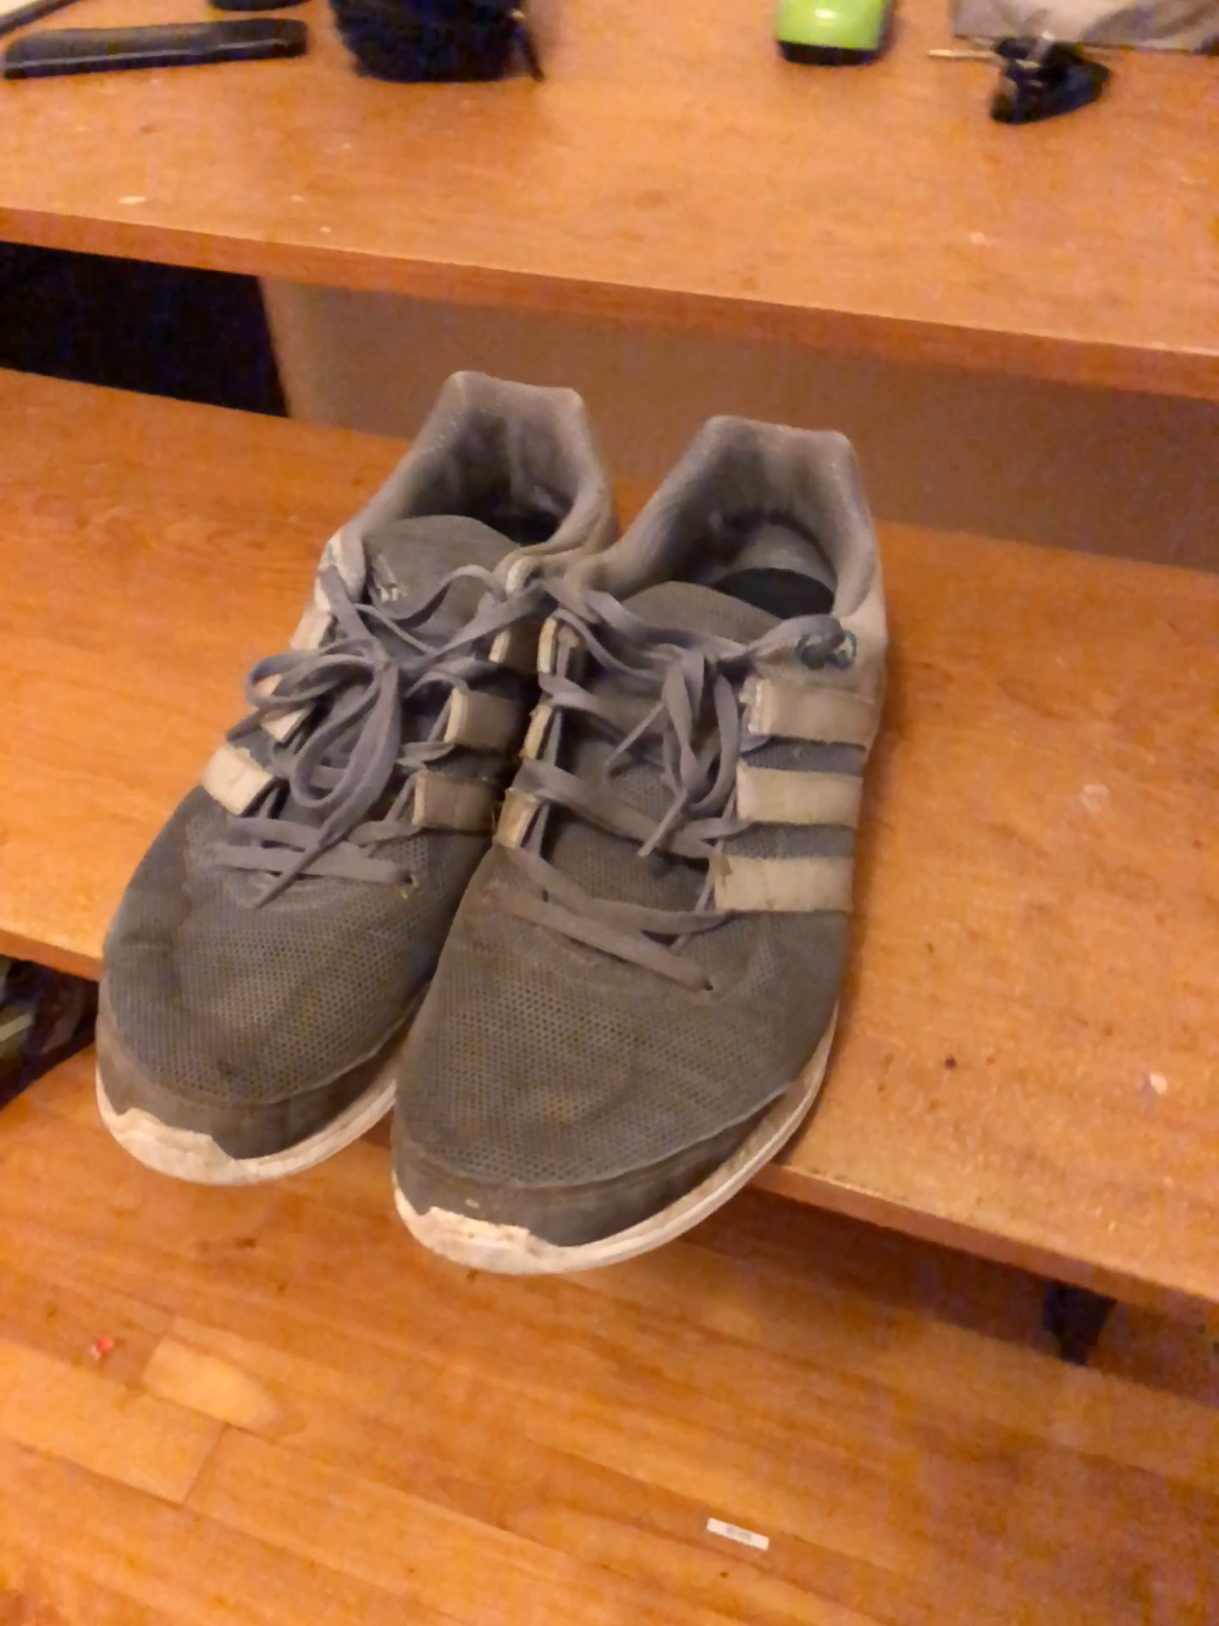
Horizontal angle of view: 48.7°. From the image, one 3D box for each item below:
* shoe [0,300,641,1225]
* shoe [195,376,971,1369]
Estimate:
[{"bbox_3d":[-0.084,-0.044,0.412,0.110,0.089,0.302,11,46,13],"label":"shoe"},{"bbox_3d":[0.017,-0.011,0.377,0.120,0.089,0.272,11,46,13],"label":"shoe"}]
